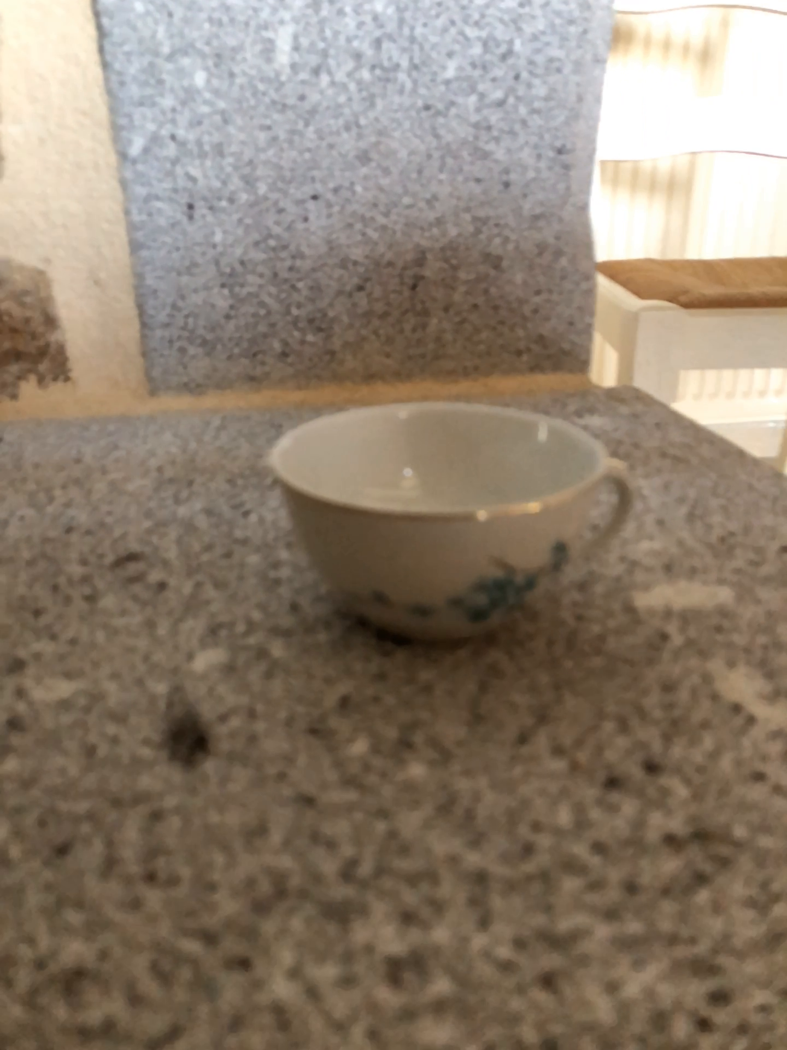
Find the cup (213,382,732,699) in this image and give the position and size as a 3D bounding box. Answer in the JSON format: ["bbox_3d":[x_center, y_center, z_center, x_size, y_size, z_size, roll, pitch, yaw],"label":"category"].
[{"bbox_3d":[0.015,-0.005,0.233,0.110,0.040,0.090,-9,24,-18],"label":"cup"}]
